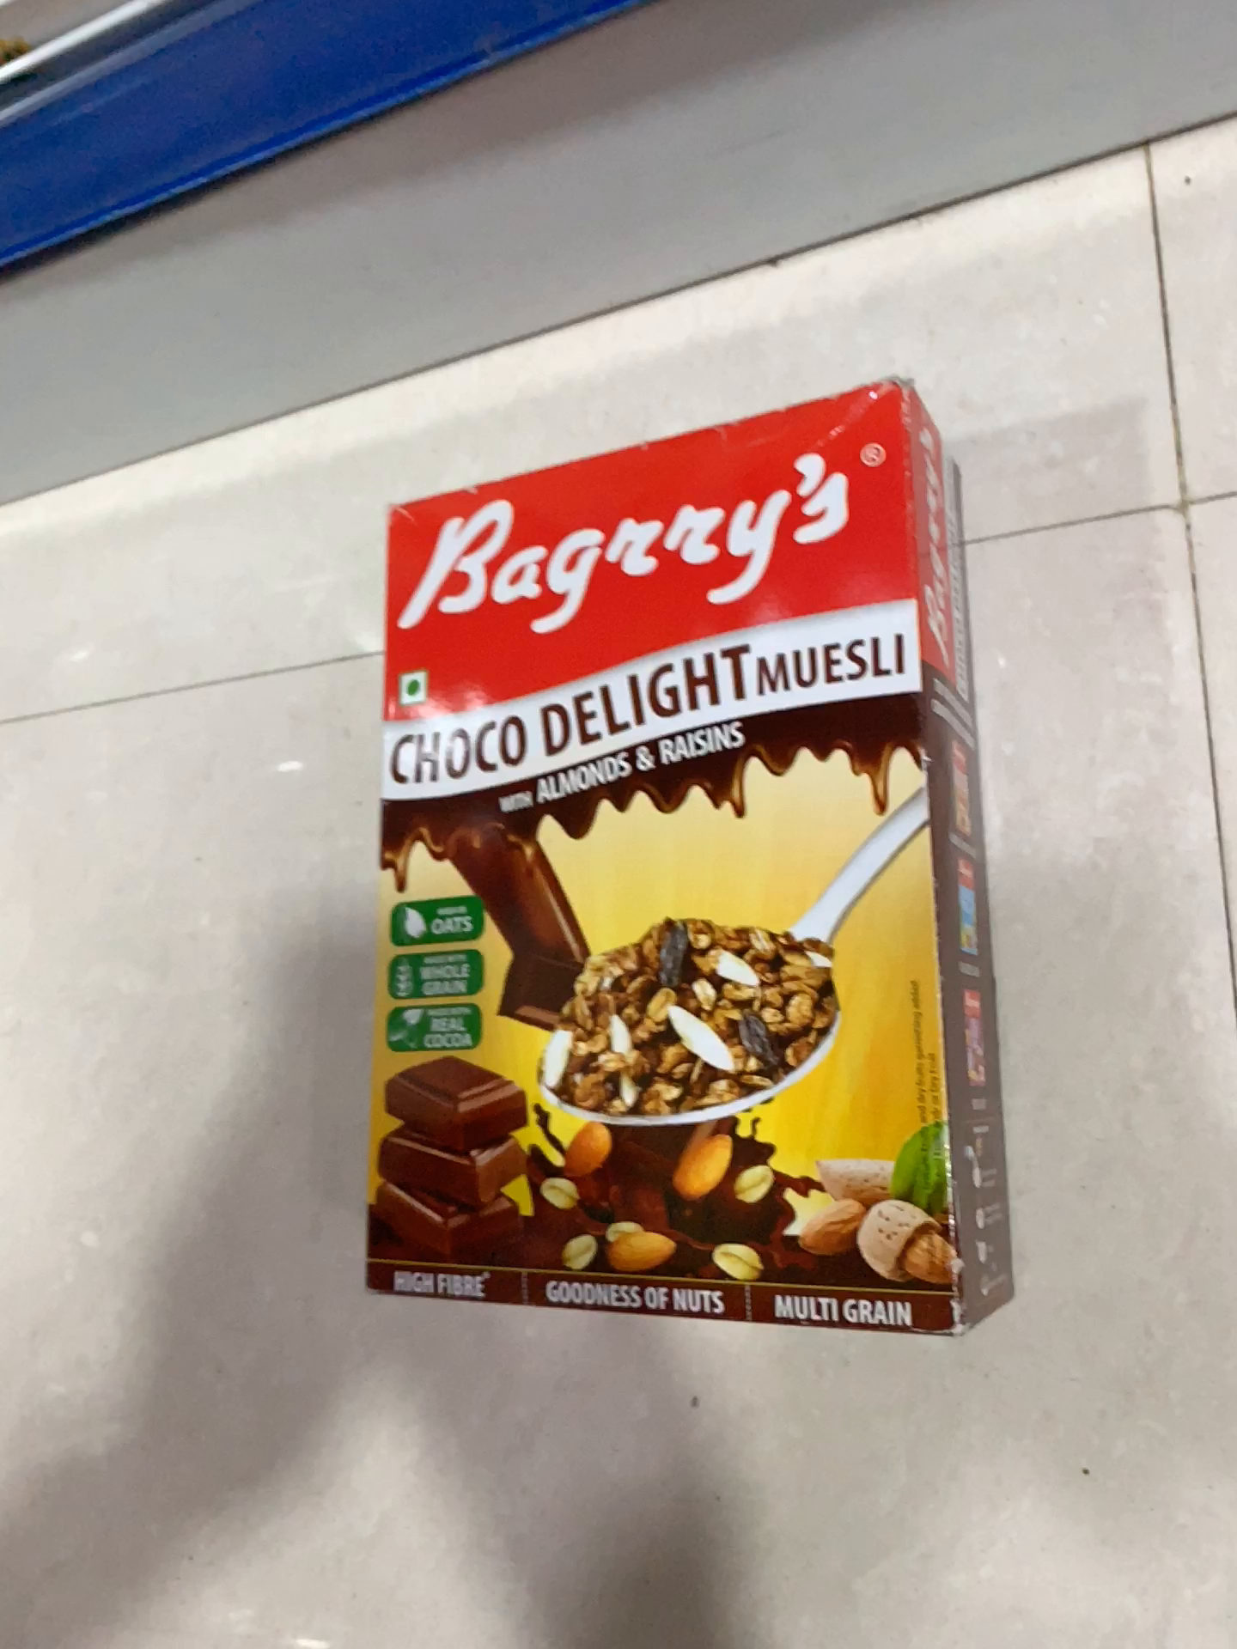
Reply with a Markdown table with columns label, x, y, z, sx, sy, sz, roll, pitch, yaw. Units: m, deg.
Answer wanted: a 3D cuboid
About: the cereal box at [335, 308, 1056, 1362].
| label | x | y | z | sx | sy | sz | roll | pitch | yaw |
| --- | --- | --- | --- | --- | --- | --- | --- | --- | --- |
| cereal box | 0.021 | 0.007 | 0.411 | 0.201 | 0.080 | 0.280 | -6 | 77 | 26 |
